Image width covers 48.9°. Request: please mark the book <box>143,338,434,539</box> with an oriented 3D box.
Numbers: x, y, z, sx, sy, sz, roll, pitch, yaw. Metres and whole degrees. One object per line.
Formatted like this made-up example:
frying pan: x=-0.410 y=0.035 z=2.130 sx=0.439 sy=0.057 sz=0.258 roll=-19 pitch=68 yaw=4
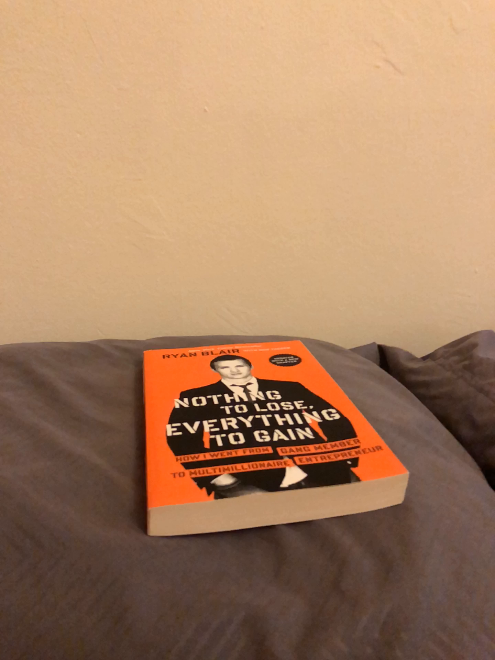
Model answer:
book: x=0.003 y=0.055 z=0.385 sx=0.150 sy=0.020 sz=0.231 roll=0 pitch=19 yaw=-11
